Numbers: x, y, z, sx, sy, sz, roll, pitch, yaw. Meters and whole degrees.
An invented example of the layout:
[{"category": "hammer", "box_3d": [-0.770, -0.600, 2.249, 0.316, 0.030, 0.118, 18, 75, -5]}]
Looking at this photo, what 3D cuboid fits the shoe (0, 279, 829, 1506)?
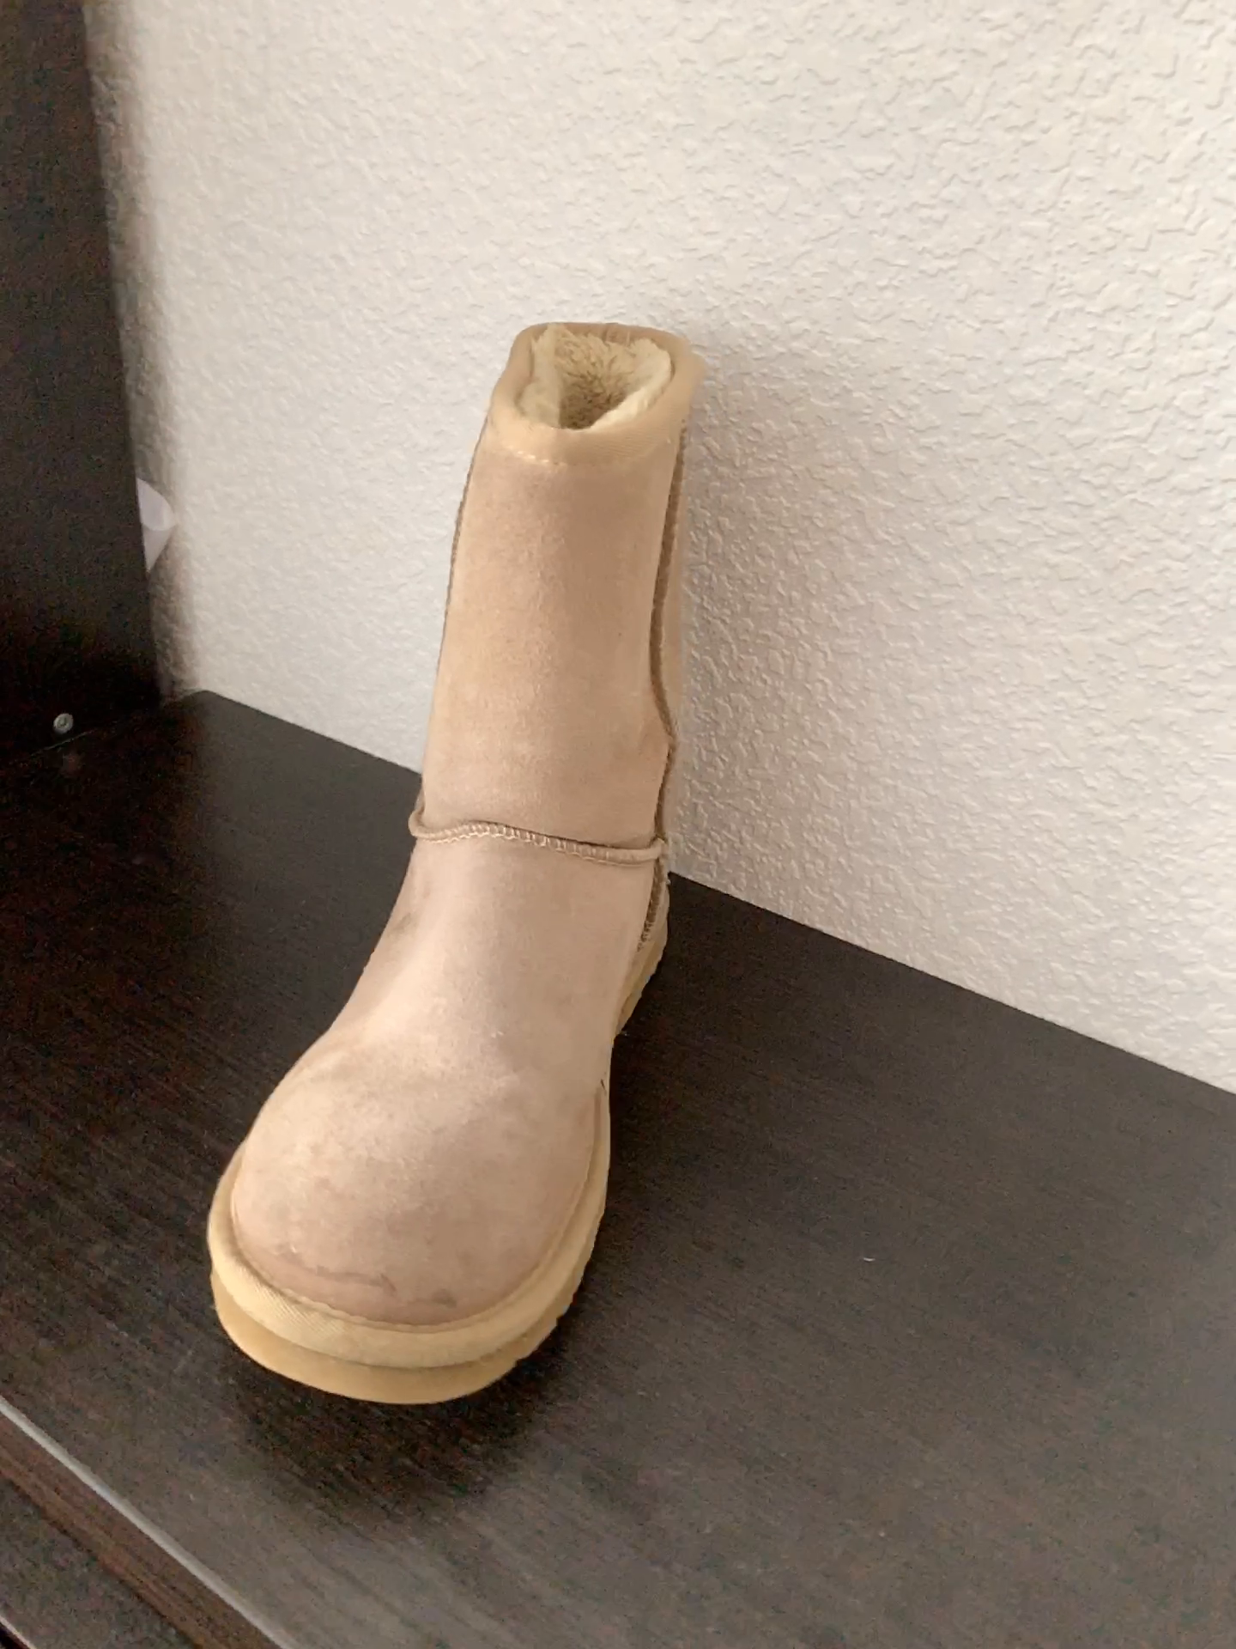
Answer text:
[{"category": "shoe", "box_3d": [-0.030, -0.012, 0.362, 0.116, 0.229, 0.261, 11, 30, 11]}]
